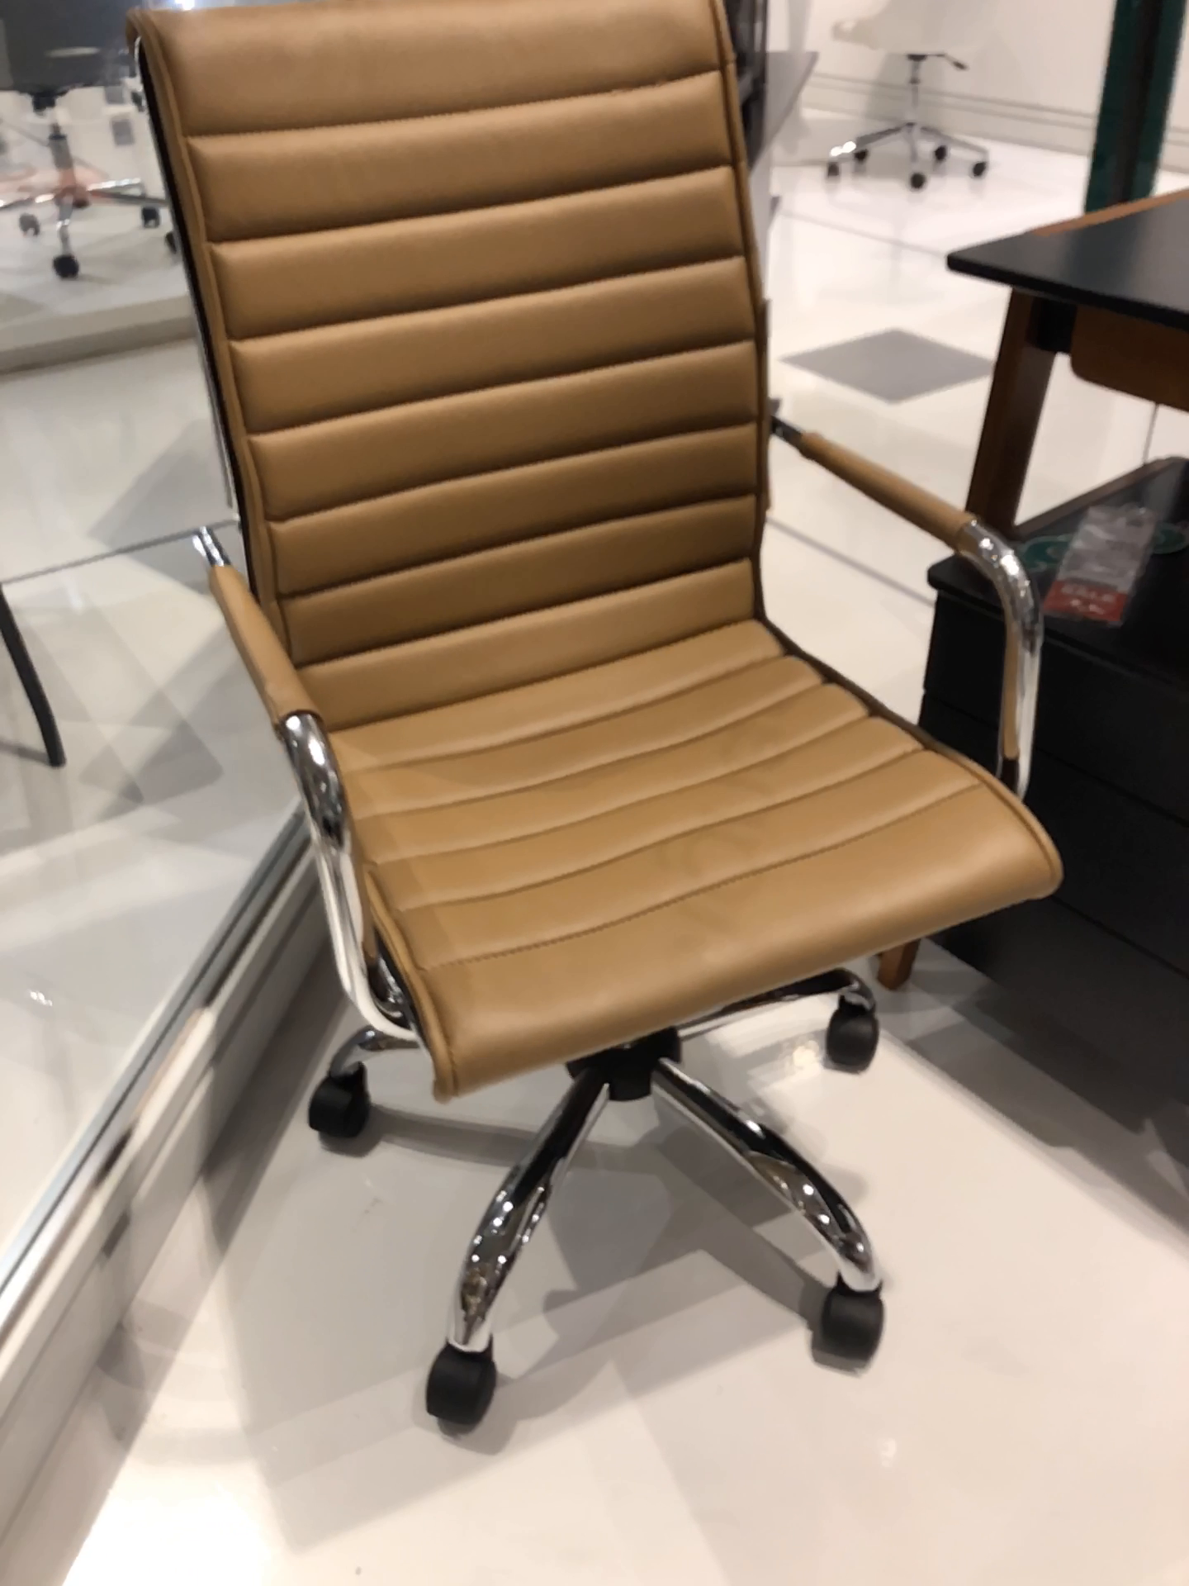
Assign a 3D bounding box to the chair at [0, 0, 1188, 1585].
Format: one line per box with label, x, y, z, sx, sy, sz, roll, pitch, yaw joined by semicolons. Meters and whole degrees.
chair;0.005;-0.036;1.004;0.601;0.943;0.614;-15;37;-18
